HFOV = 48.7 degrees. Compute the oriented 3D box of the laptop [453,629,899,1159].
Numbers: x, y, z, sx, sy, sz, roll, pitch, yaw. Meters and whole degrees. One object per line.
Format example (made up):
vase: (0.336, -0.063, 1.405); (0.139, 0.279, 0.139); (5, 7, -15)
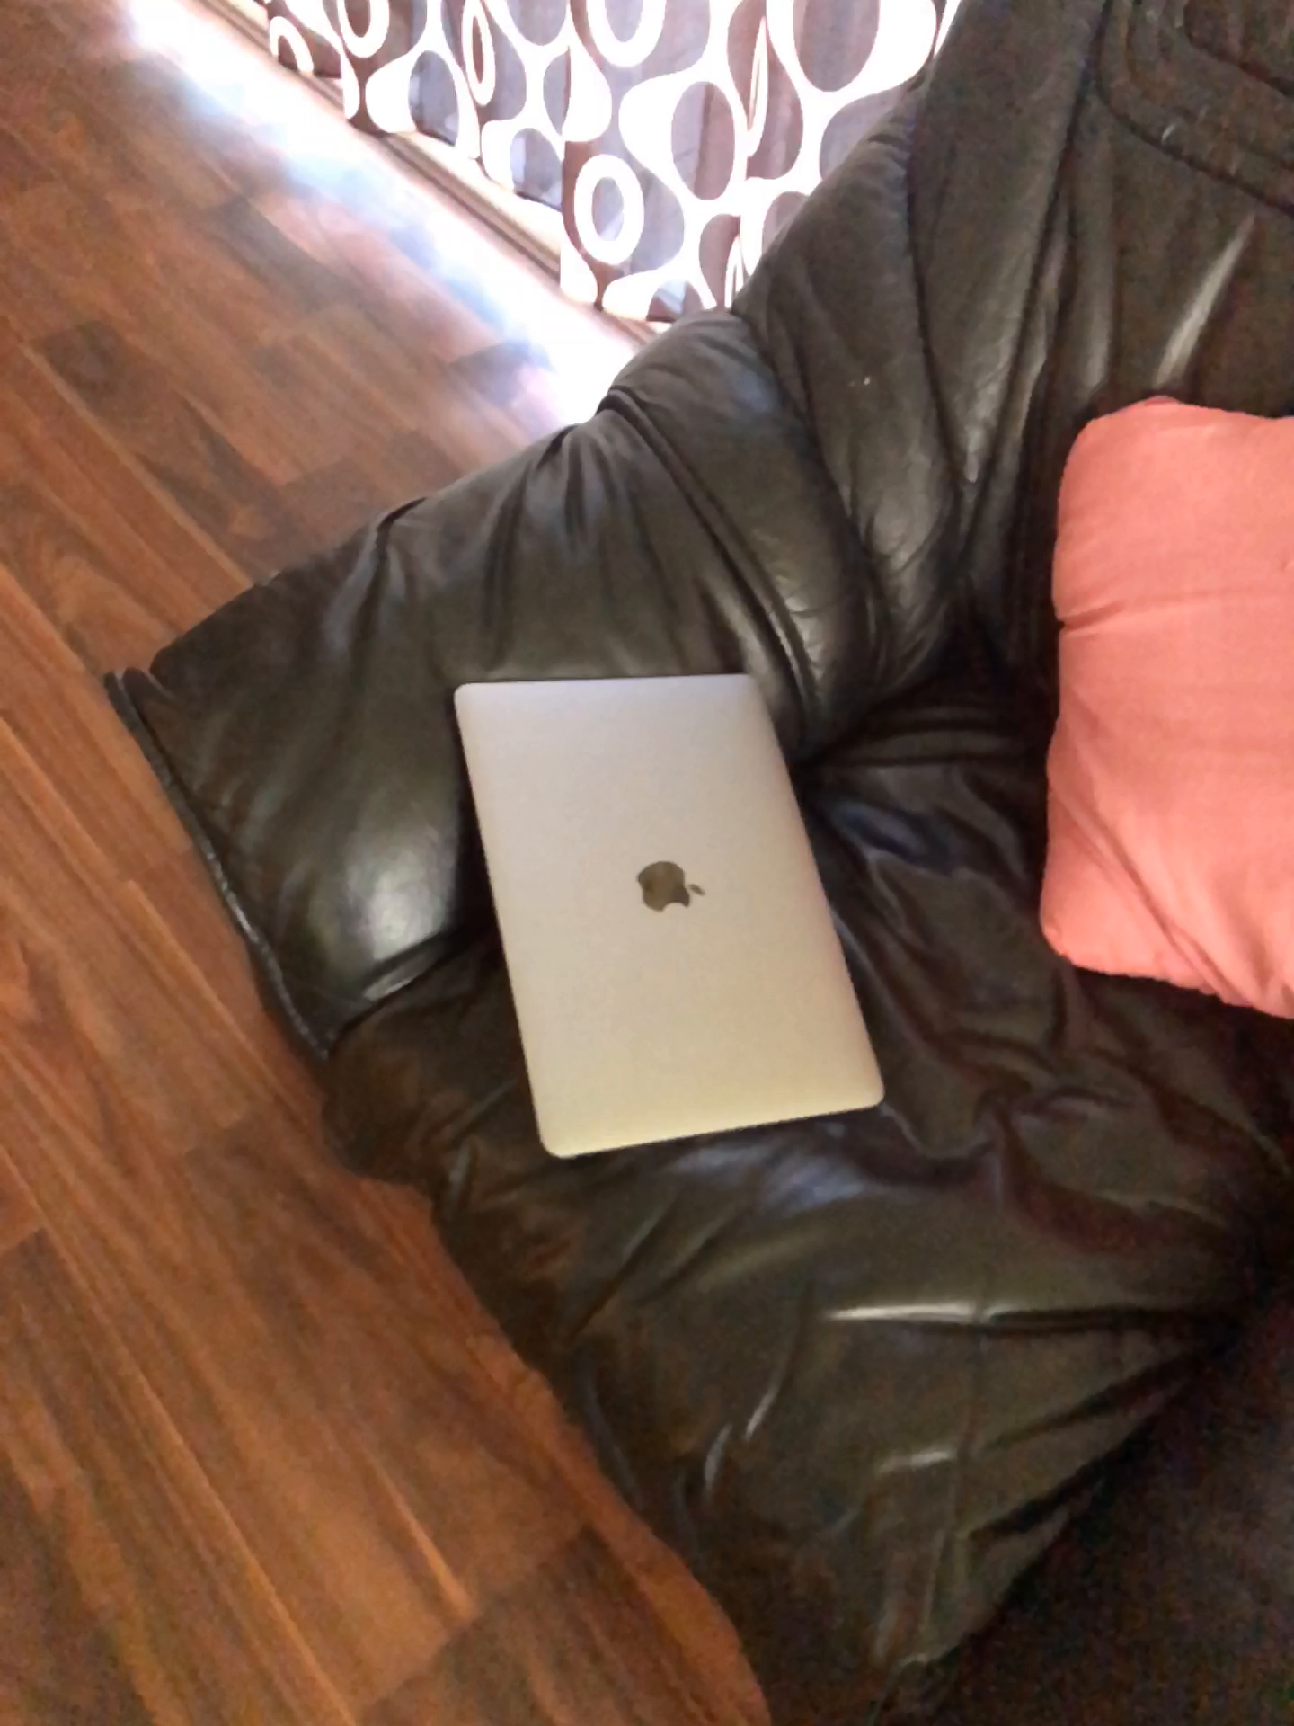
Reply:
laptop: (0.011, 0.002, 0.749); (0.185, 0.036, 0.265); (-4, 64, -22)
